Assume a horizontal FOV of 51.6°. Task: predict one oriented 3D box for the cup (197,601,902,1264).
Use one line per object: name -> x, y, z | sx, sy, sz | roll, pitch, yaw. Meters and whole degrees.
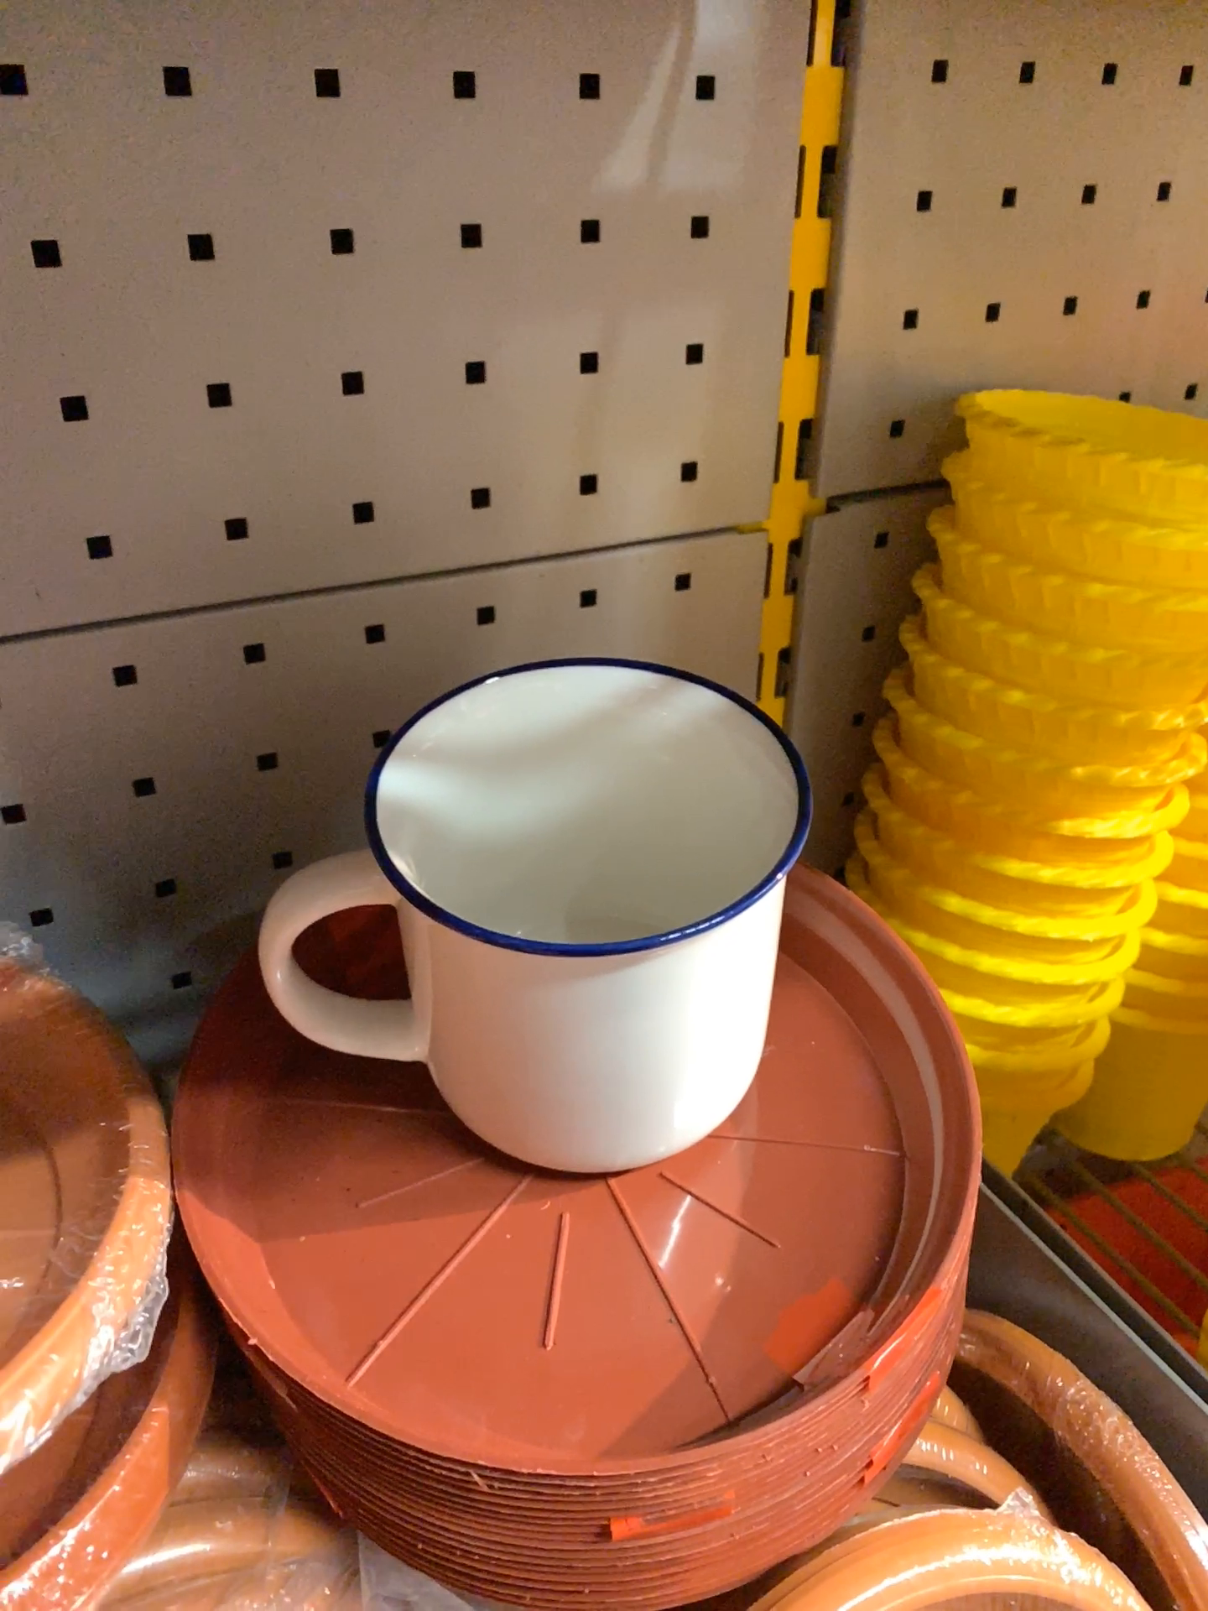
cup -> -0.018, 0.024, 0.271 | 0.120, 0.090, 0.090 | -7, 43, -12
